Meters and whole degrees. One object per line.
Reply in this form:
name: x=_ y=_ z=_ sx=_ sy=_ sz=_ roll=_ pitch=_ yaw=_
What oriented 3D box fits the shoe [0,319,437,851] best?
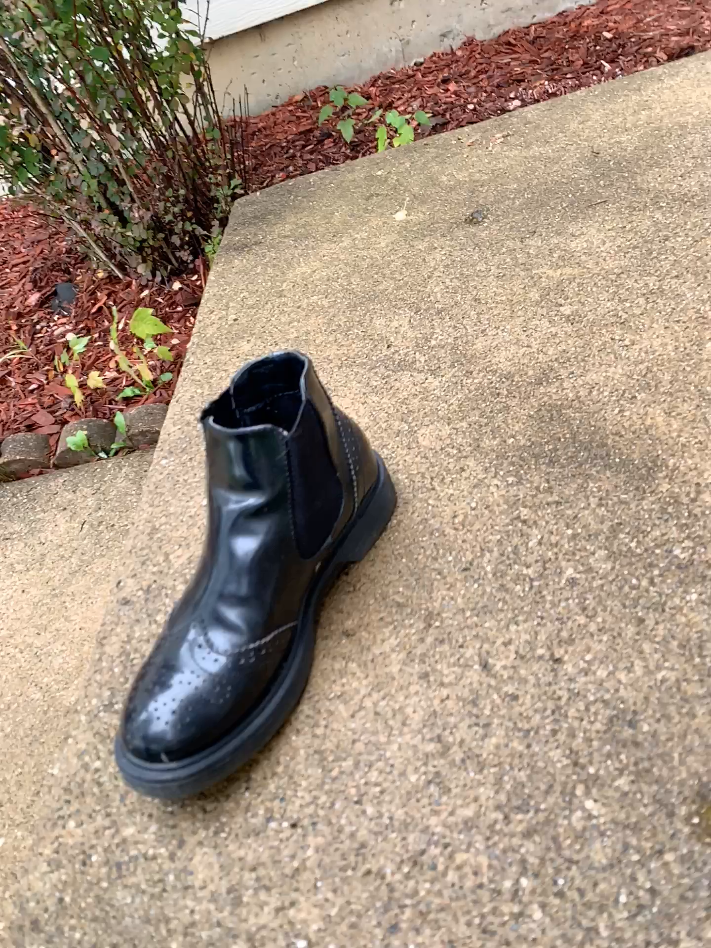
shoe: x=-0.070 y=0.044 z=0.439 sx=0.119 sy=0.148 sz=0.268 roll=8 pitch=47 yaw=31
